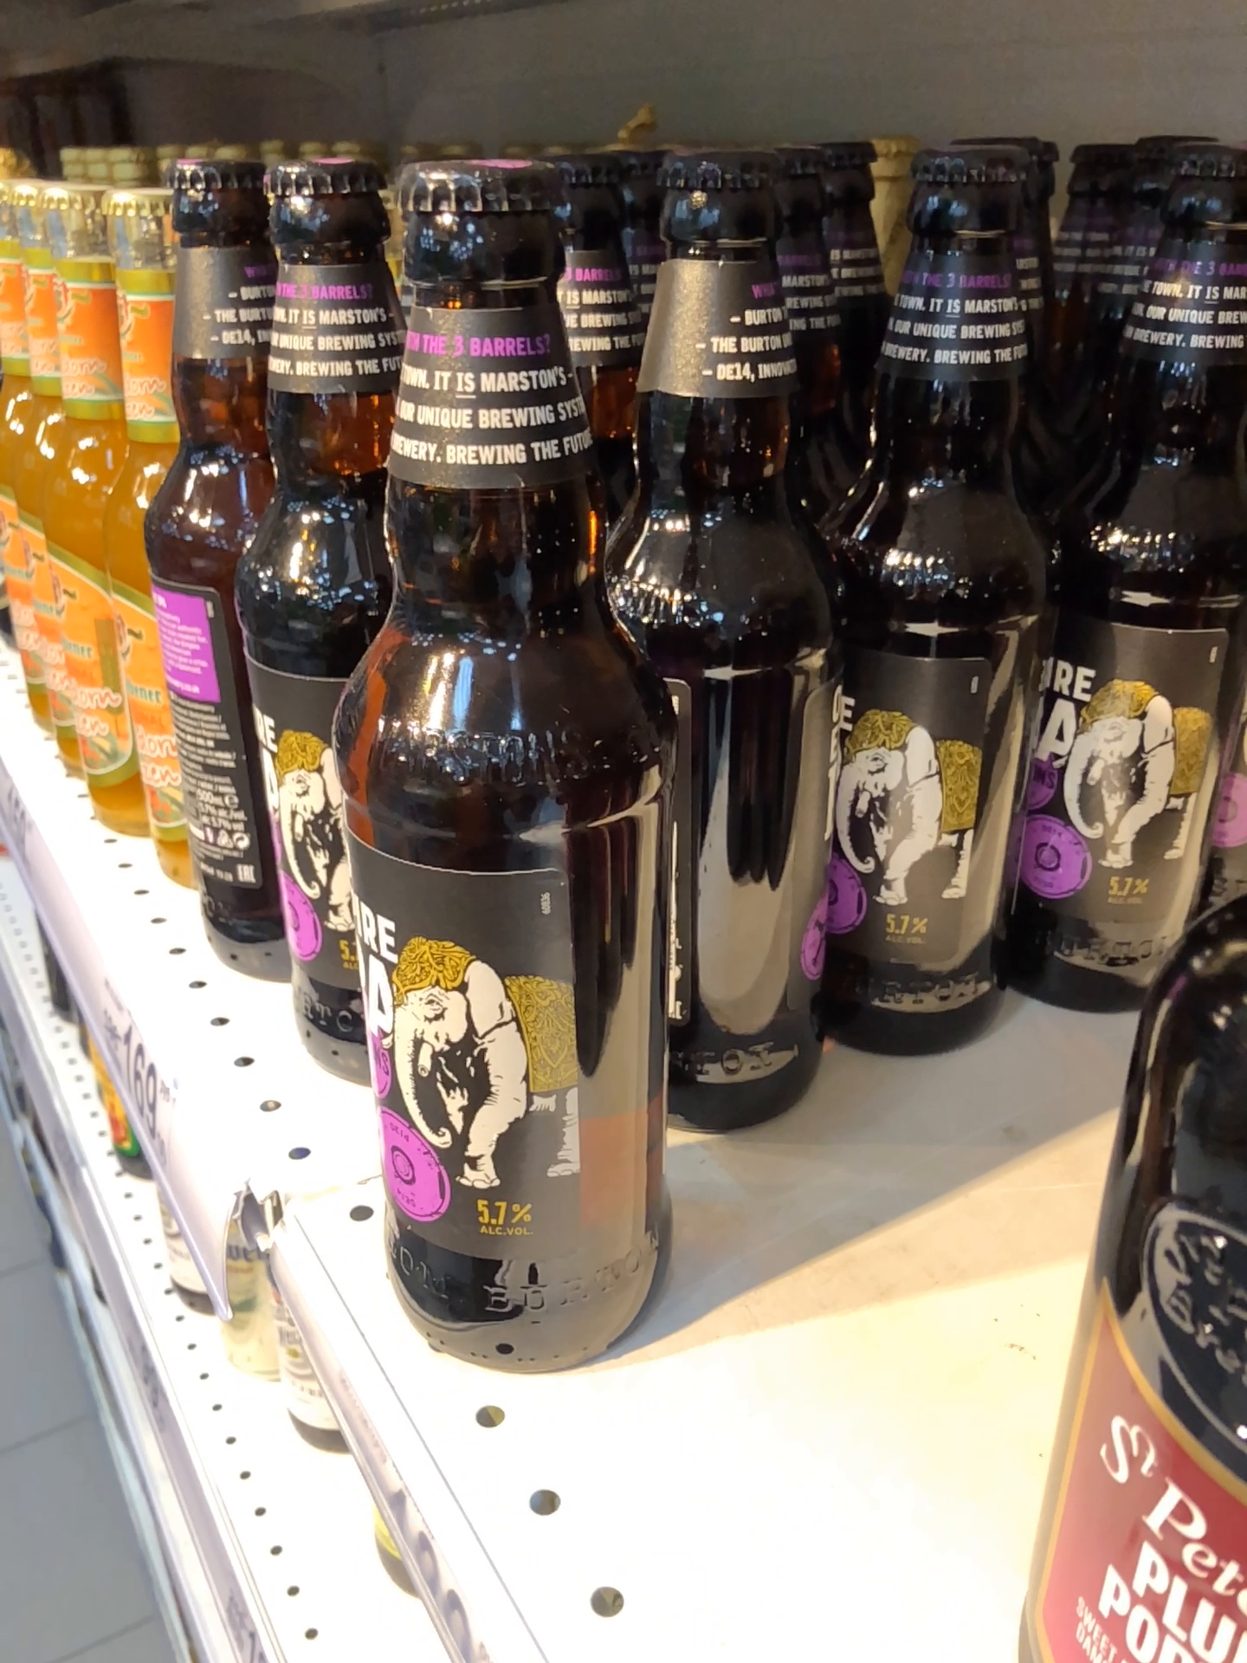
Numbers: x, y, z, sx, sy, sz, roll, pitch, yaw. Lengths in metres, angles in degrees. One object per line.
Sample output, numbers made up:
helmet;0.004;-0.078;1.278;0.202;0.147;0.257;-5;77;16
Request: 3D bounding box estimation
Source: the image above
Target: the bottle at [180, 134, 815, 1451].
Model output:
bottle;-0.024;-0.006;0.278;0.080;0.239;0.080;0;26;0
